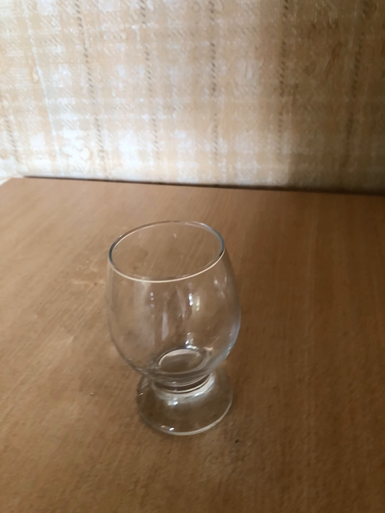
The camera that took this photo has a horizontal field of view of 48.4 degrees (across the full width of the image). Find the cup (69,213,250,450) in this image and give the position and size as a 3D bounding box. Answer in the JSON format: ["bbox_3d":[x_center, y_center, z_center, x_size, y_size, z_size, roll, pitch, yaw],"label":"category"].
[{"bbox_3d":[-0.009,0.040,0.249,0.076,0.105,0.074,-3,31,2],"label":"cup"}]
